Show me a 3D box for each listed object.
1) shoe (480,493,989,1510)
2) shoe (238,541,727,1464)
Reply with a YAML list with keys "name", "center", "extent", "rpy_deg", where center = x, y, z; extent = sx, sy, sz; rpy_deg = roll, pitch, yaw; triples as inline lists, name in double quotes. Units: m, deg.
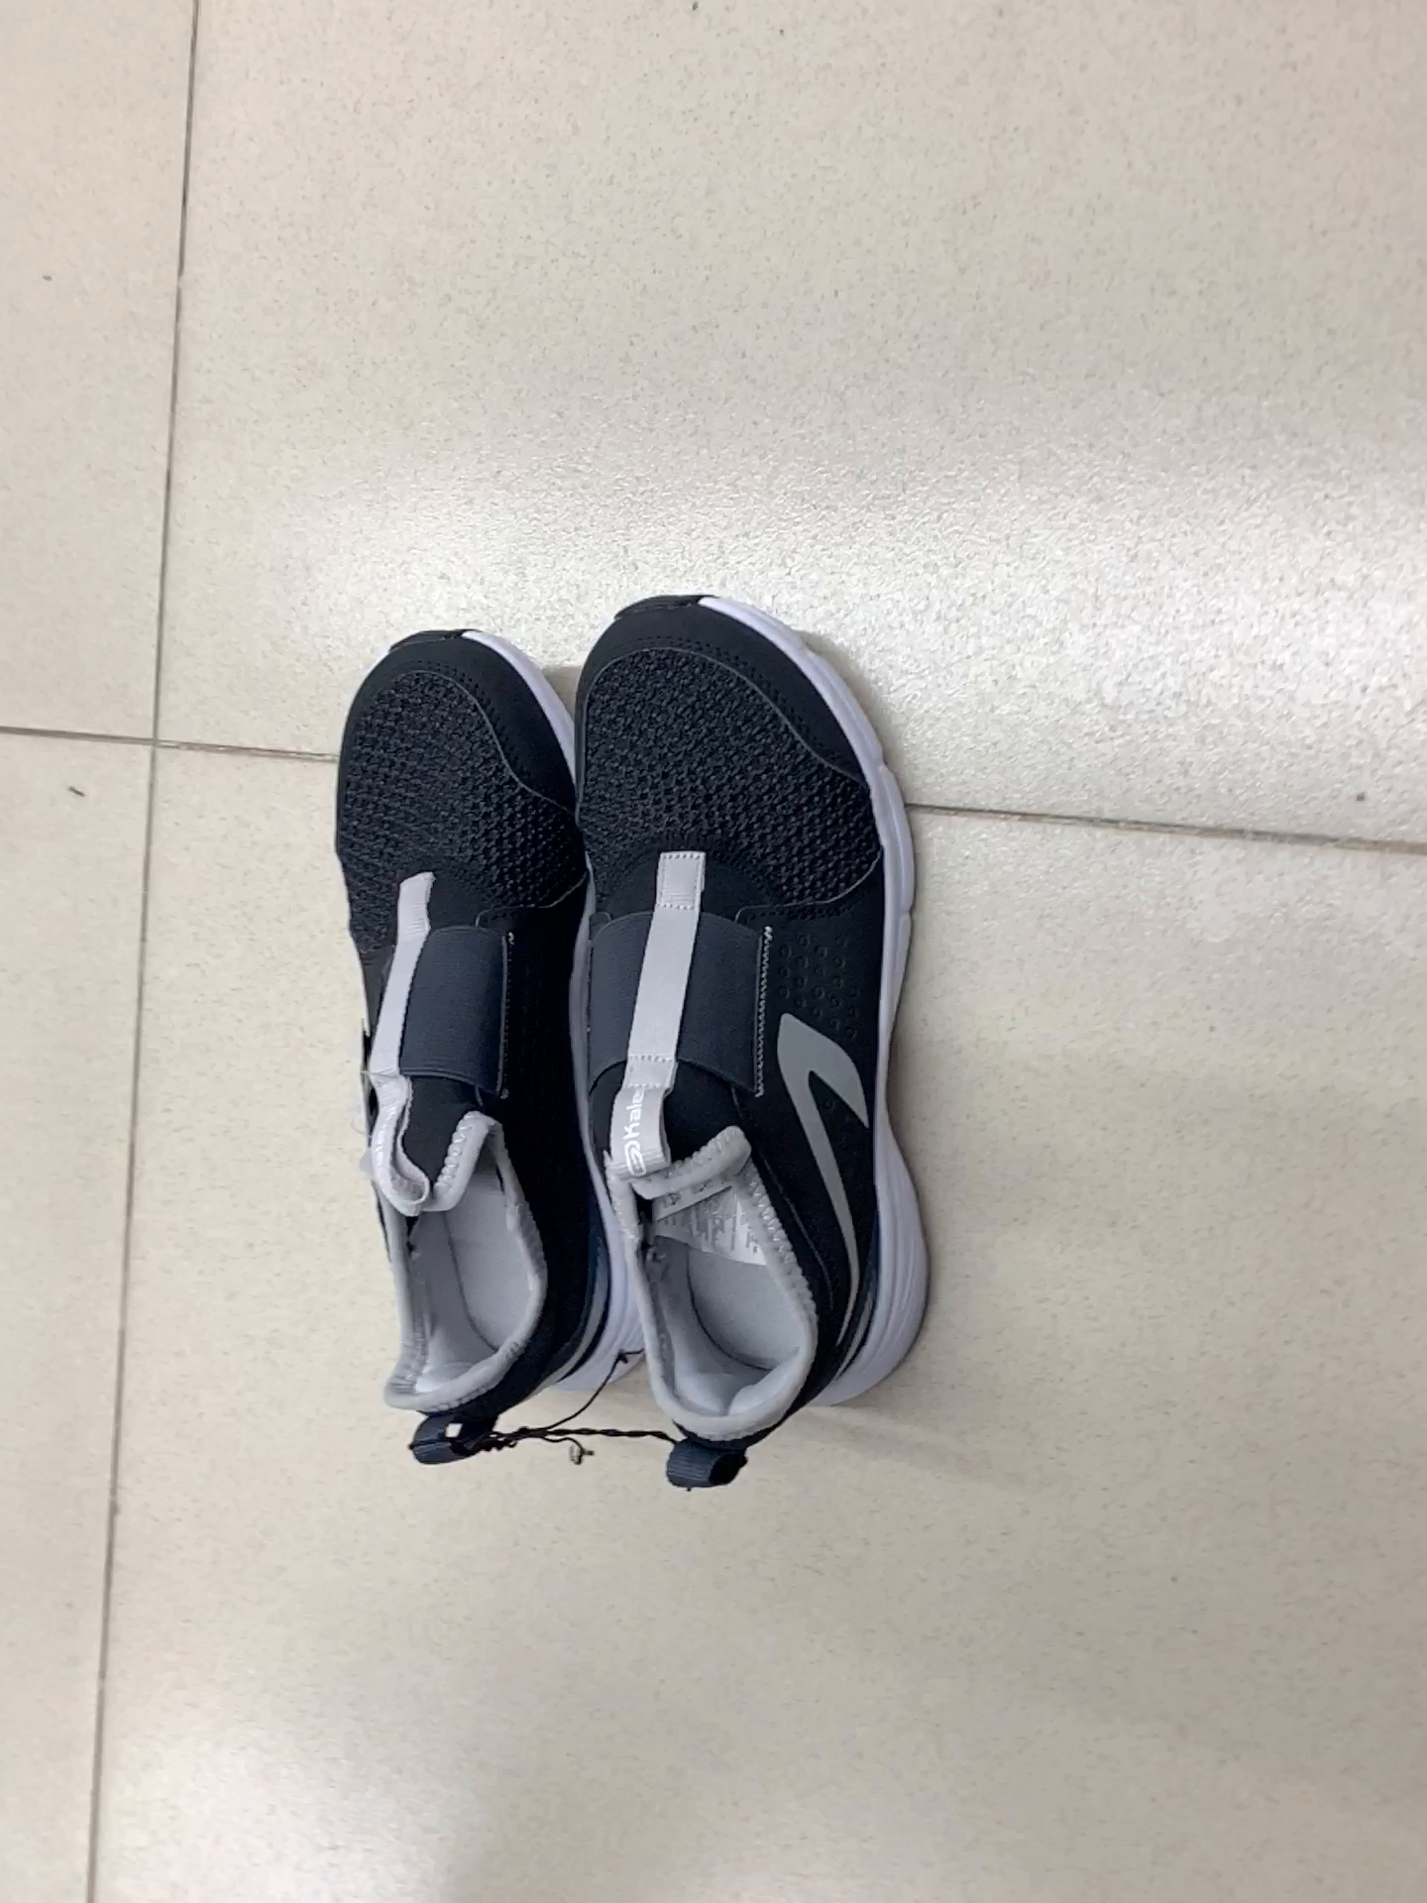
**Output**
- name: "shoe"
  center: [0.009, 0.015, 0.412]
  extent: [0.090, 0.080, 0.250]
  rpy_deg: [-7, 90, 24]
- name: "shoe"
  center: [-0.067, 0.017, 0.448]
  extent: [0.090, 0.080, 0.250]
  rpy_deg: [-7, 90, 24]
